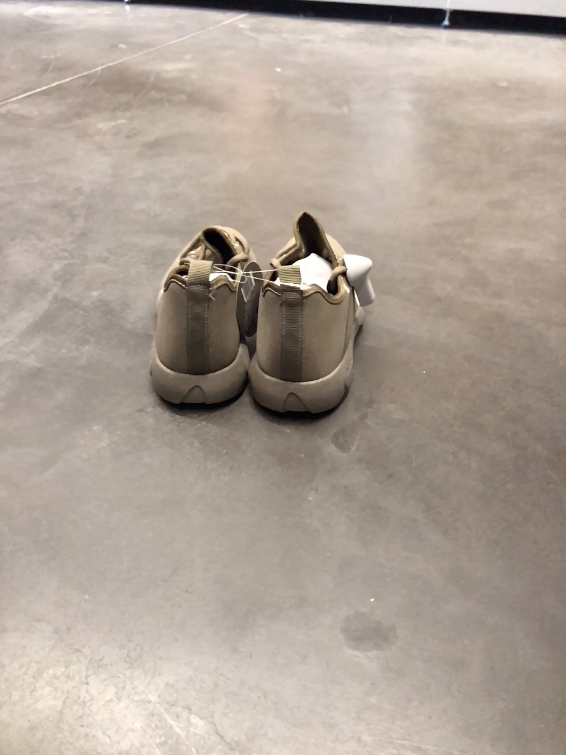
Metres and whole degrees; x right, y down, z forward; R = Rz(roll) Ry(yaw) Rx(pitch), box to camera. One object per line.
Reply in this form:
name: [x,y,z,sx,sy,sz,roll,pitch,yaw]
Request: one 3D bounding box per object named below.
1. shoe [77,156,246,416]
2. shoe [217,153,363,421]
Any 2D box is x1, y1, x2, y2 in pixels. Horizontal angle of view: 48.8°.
shoe: [-0.085,-0.090,0.525,0.100,0.109,0.241,-1,38,-2]
shoe: [0.010,-0.088,0.512,0.090,0.109,0.241,2,38,2]
